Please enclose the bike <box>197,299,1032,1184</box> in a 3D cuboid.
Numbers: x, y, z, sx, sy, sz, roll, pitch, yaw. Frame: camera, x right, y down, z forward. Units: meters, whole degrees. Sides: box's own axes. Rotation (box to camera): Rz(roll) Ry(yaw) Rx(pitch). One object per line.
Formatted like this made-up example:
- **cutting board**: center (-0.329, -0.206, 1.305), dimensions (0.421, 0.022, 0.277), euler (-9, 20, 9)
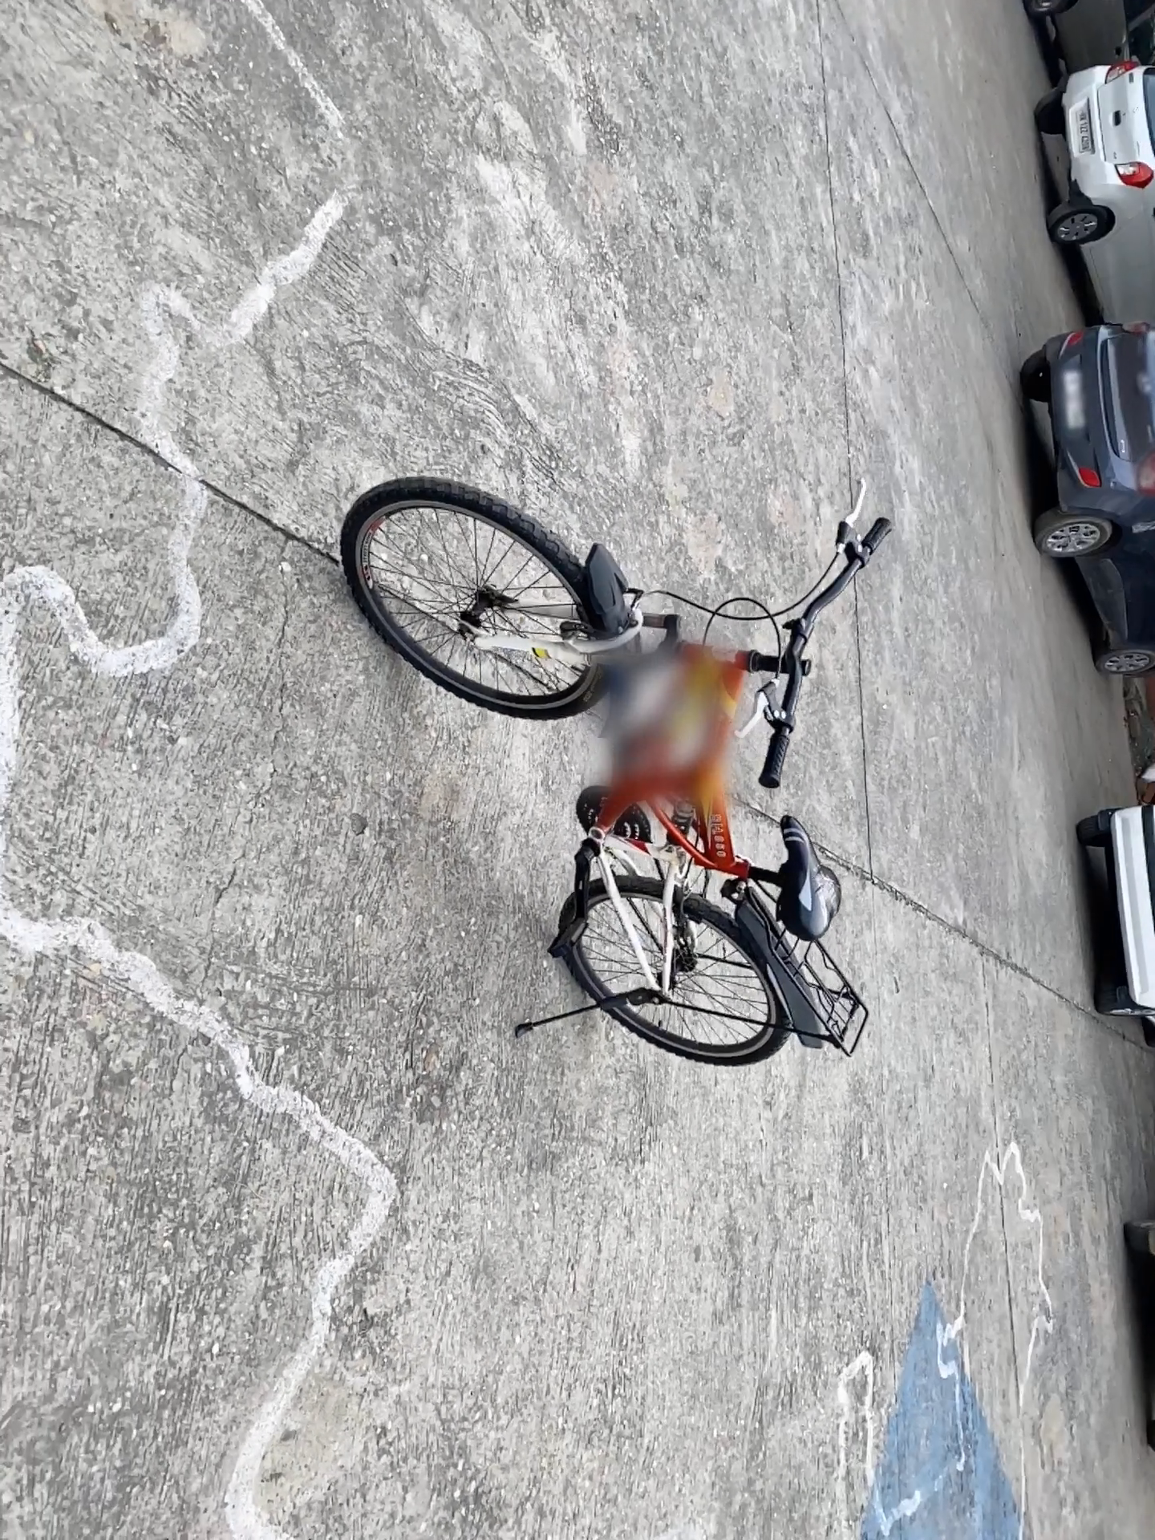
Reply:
- **bike**: center (0.183, 0.073, 2.312), dimensions (1.515, 0.976, 0.586), euler (61, 37, -29)
